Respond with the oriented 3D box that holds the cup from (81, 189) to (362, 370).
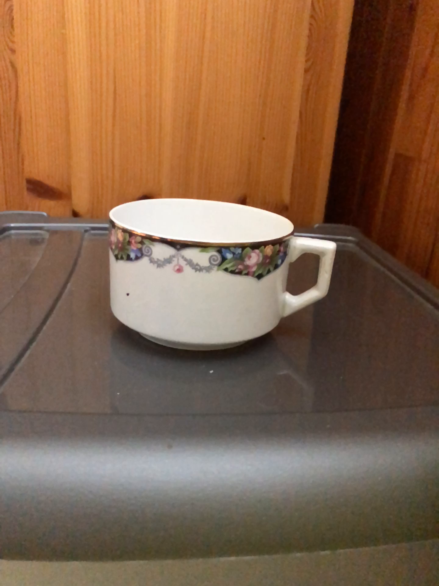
[{"bbox_3d":[0.003,-0.015,0.280,0.130,0.060,0.101,7,21,5],"label":"cup"}]
